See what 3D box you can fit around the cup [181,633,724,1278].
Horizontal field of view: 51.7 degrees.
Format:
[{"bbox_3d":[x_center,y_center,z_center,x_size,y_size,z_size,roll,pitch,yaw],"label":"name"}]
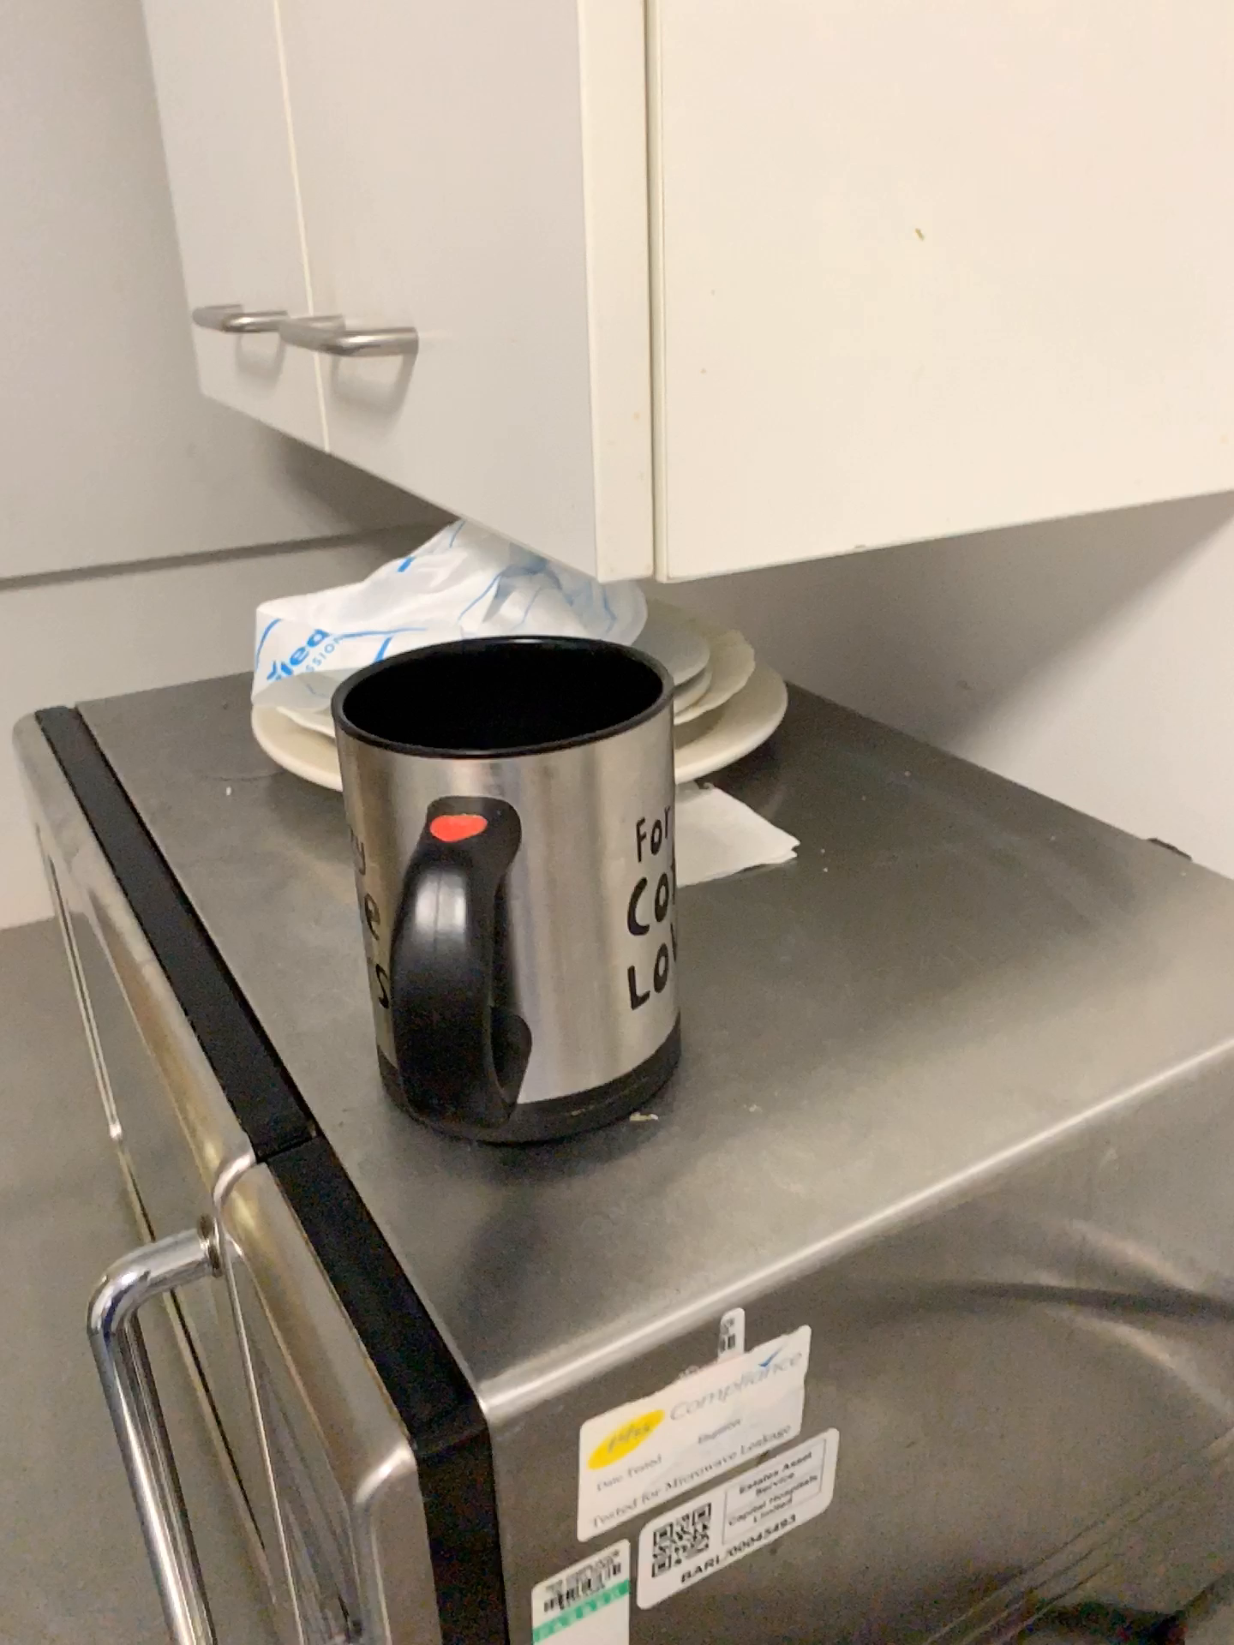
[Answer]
[{"bbox_3d":[-0.028,0.023,0.334,0.096,0.108,0.134,3,25,11],"label":"cup"}]
